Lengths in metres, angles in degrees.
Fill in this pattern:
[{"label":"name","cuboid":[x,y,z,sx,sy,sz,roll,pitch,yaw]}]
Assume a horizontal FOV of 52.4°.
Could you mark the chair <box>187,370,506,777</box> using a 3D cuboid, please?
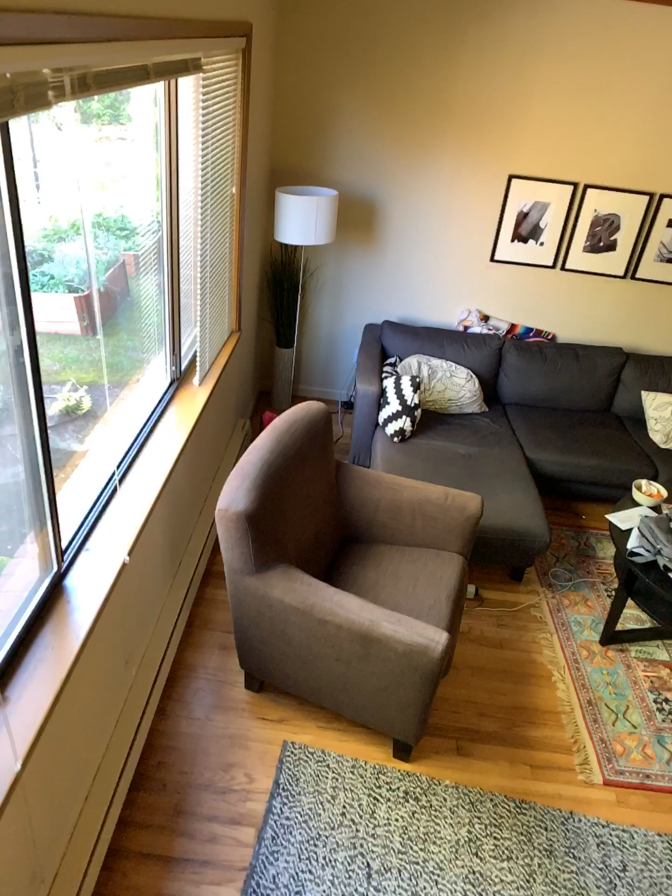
[{"label":"chair","cuboid":[0.072,0.365,2.381,0.801,0.875,0.884,12,31,13]}]
